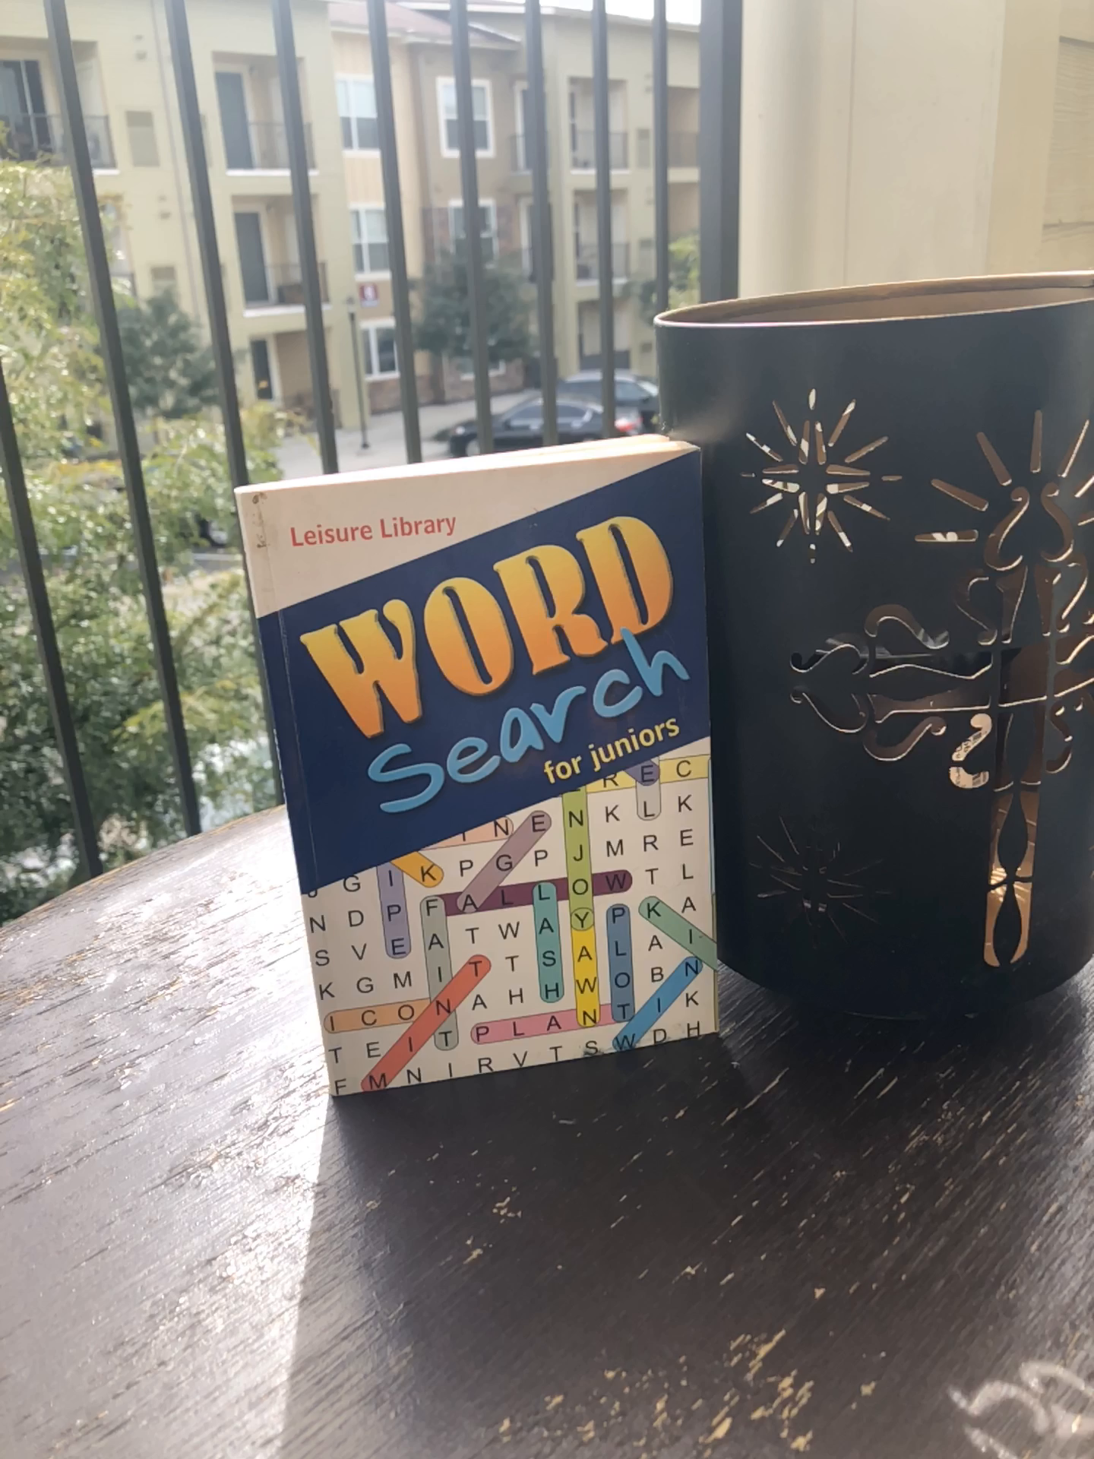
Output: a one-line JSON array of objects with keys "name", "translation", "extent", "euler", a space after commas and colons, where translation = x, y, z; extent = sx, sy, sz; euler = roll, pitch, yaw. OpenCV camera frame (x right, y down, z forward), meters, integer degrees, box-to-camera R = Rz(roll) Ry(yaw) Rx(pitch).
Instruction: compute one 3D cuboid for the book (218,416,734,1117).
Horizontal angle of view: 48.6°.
[{"name": "book", "translation": [-0.014, 0.011, 0.336], "extent": [0.124, 0.179, 0.031], "euler": [-7, 18, -10]}]
